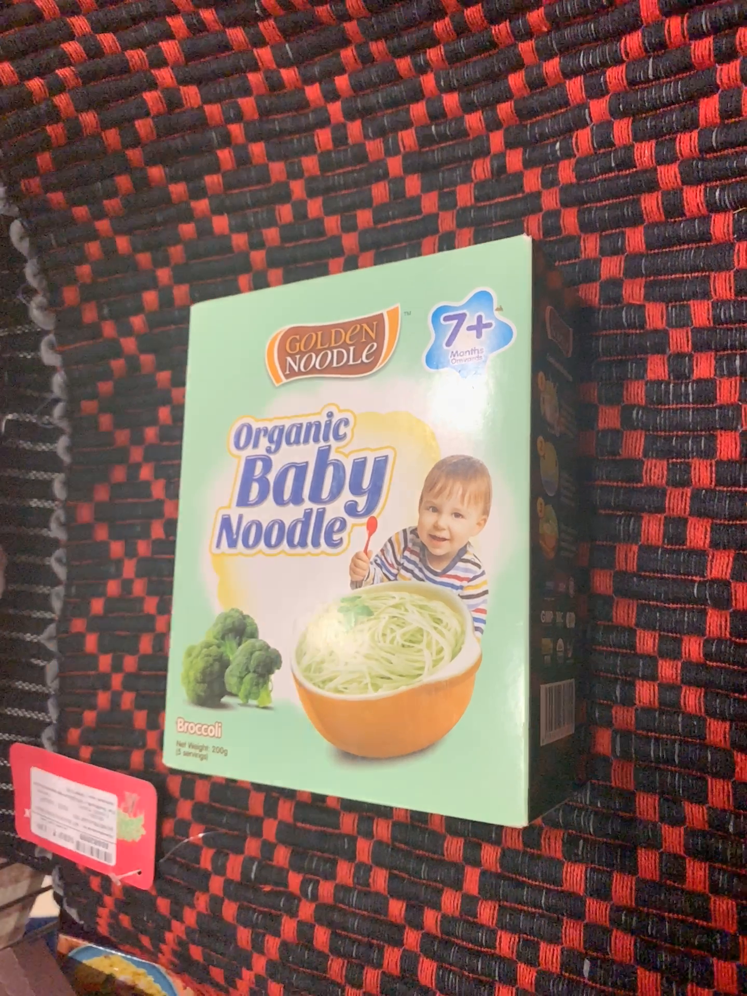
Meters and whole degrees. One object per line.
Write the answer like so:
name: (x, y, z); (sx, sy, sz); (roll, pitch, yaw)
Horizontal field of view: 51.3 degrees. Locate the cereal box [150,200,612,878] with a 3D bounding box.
cereal box: (0.003, 0.012, 0.252); (0.130, 0.060, 0.170); (-2, 81, 29)
